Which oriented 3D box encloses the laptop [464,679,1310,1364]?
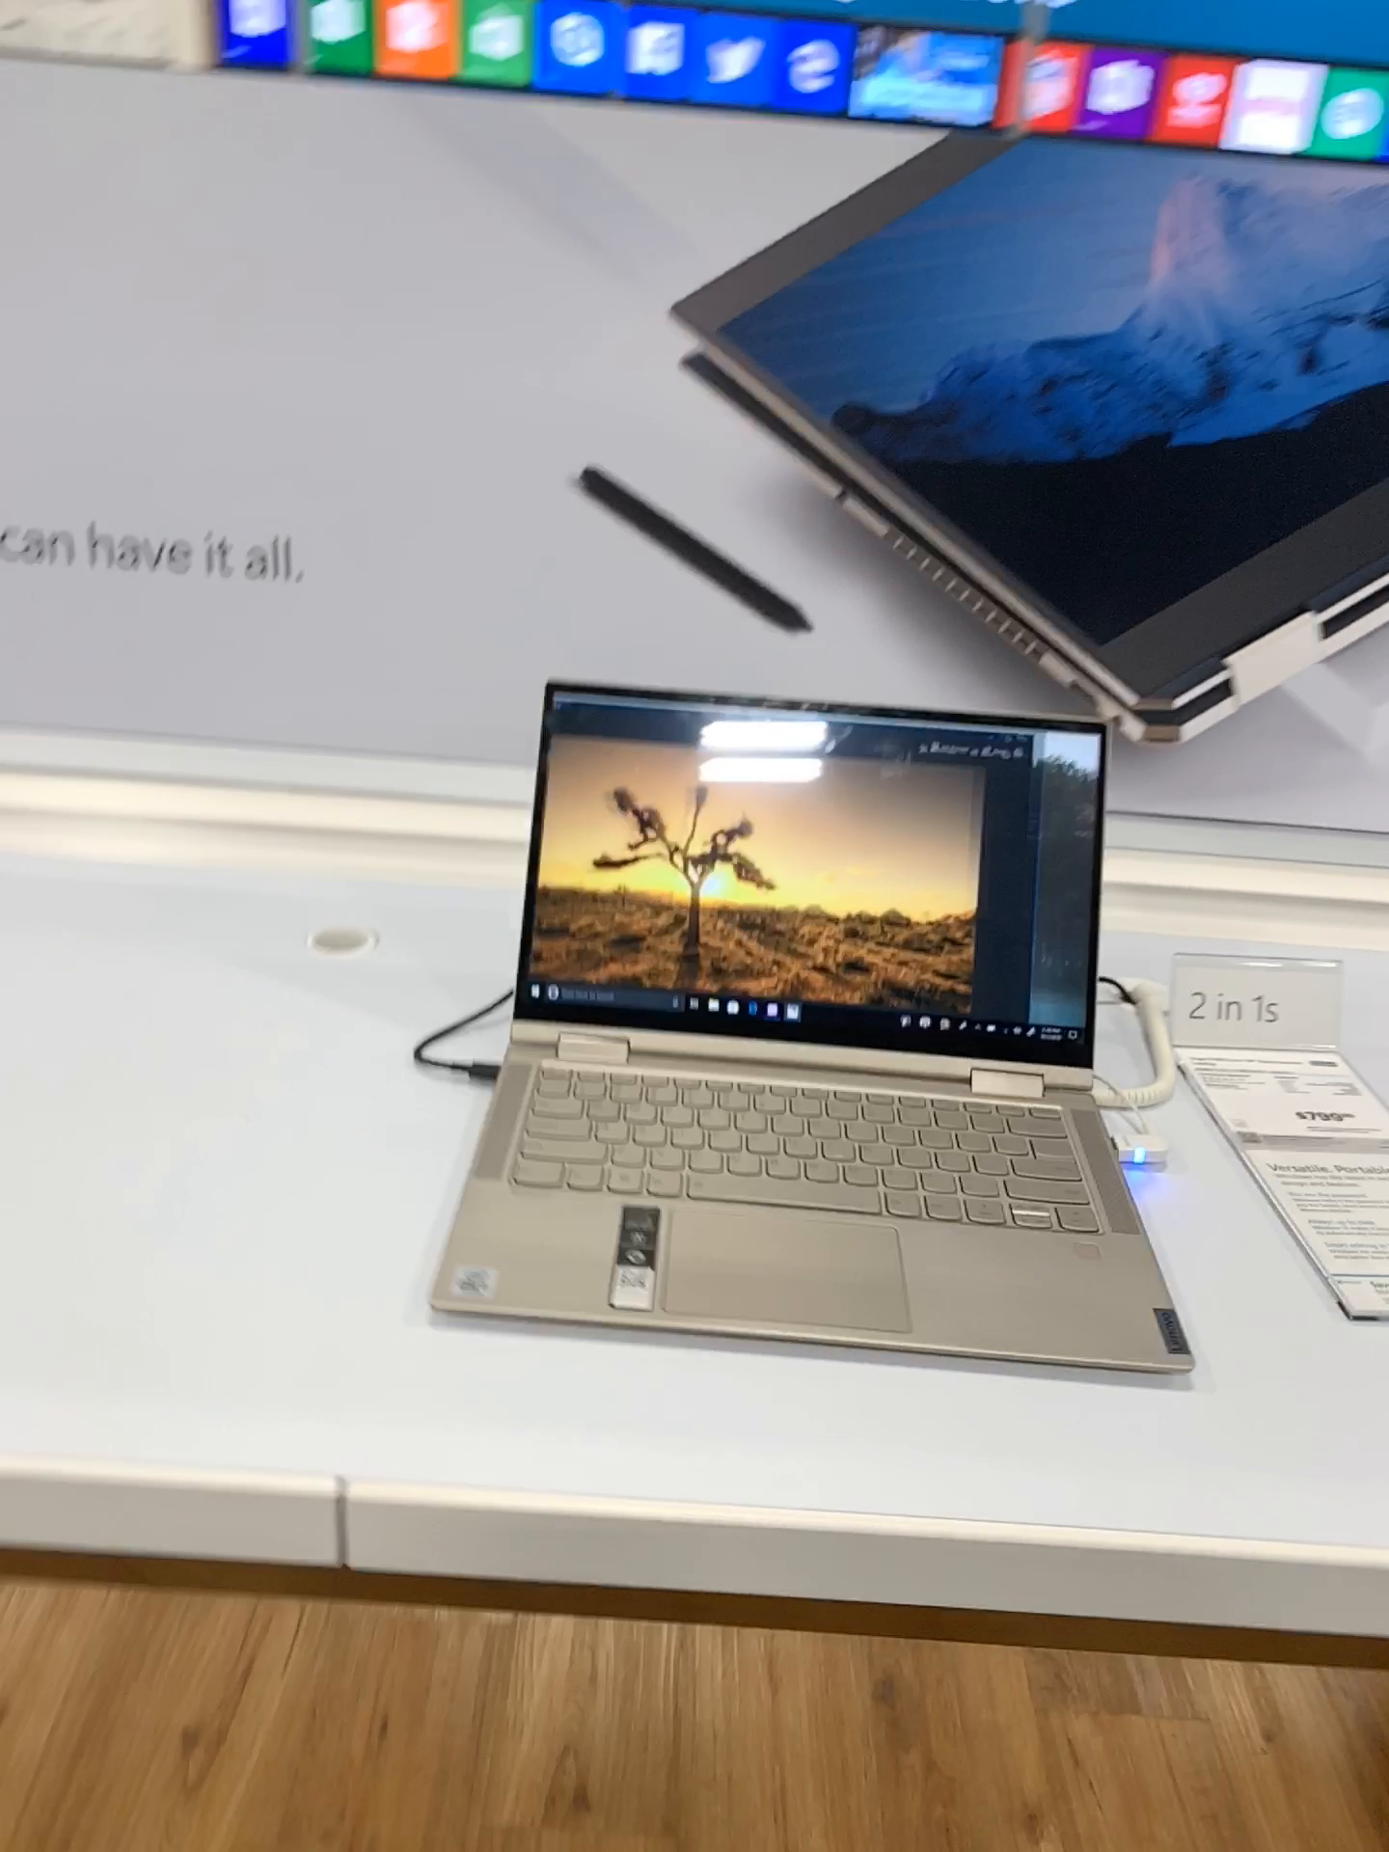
[{"bbox_3d":[0.075,0.020,0.708,0.309,0.170,0.330,5,26,1],"label":"laptop"}]
